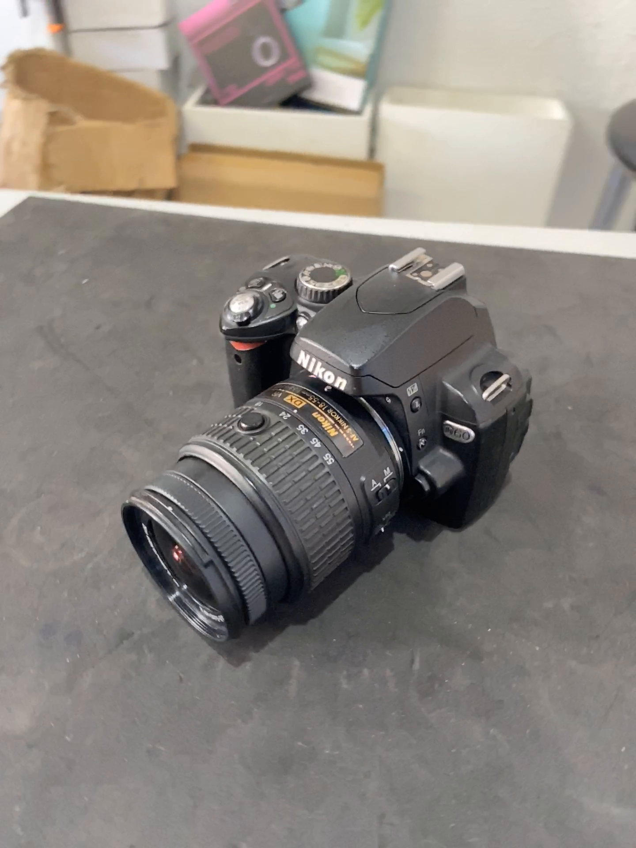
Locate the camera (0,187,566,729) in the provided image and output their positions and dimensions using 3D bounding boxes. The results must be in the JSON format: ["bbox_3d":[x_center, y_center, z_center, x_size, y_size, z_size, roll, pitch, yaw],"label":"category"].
[{"bbox_3d":[-0.012,-0.004,0.243,0.129,0.088,0.141,31,53,31],"label":"camera"}]
